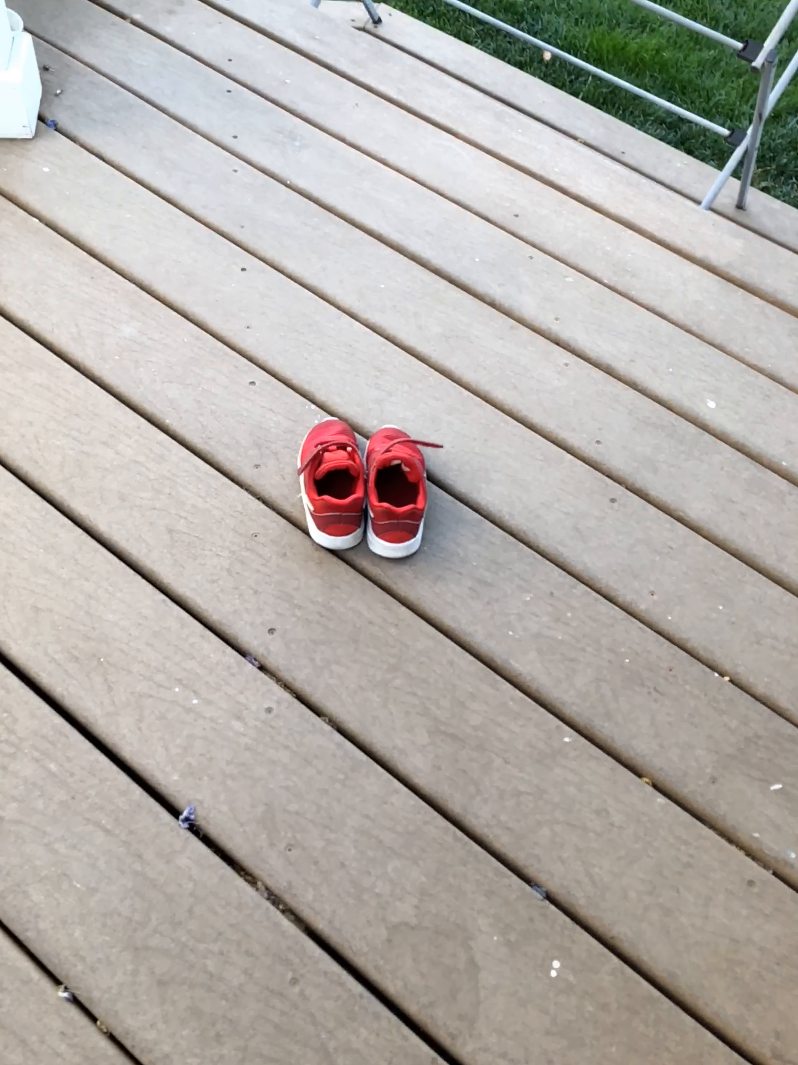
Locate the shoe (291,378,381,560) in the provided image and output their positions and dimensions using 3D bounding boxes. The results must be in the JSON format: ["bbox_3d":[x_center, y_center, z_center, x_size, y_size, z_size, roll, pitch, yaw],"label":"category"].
[{"bbox_3d":[-0.069,-0.067,0.894,0.077,0.087,0.168,-1,56,-9],"label":"shoe"}]

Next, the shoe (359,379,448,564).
[{"bbox_3d":[0.003,-0.063,0.892,0.077,0.087,0.168,4,55,-6],"label":"shoe"}]
